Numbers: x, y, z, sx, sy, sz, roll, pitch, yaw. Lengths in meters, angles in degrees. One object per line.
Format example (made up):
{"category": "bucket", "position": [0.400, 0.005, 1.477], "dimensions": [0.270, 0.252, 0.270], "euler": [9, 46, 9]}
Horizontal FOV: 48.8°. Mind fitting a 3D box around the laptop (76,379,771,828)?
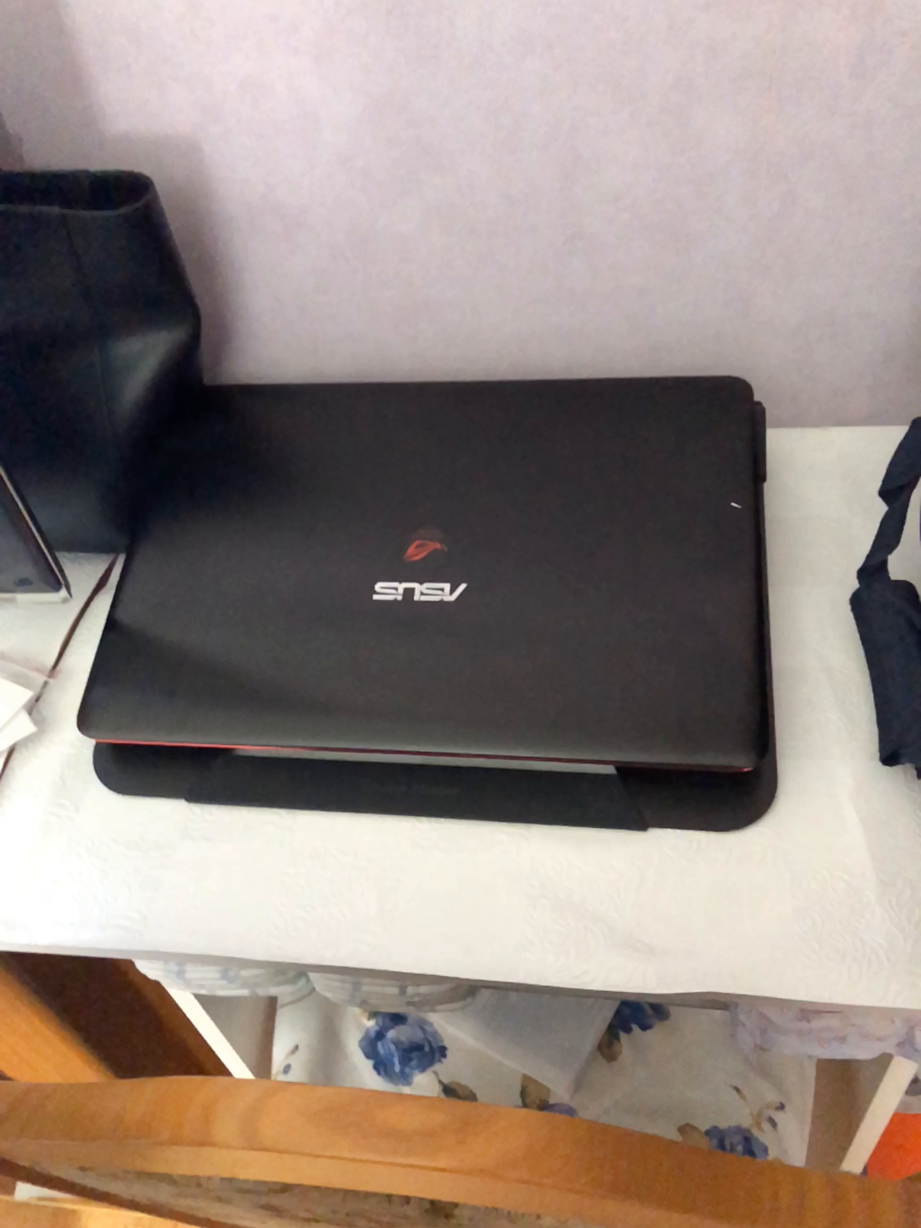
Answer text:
{"category": "laptop", "position": [-0.019, -0.021, 0.650], "dimensions": [0.394, 0.060, 0.267], "euler": [1, 59, 11]}
